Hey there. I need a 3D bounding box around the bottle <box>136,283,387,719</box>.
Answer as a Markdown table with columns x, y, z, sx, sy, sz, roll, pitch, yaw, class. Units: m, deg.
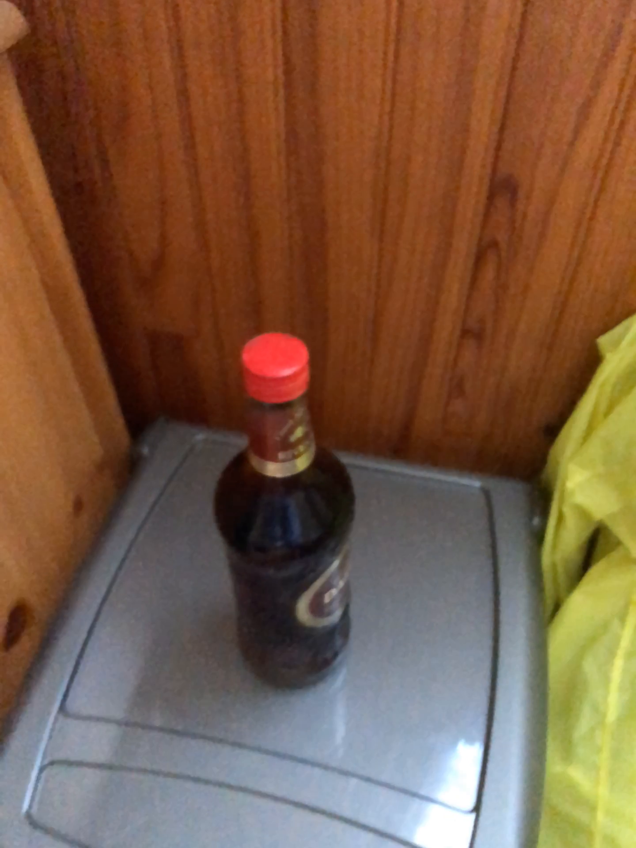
| x | y | z | sx | sy | sz | roll | pitch | yaw | class |
| --- | --- | --- | --- | --- | --- | --- | --- | --- | --- |
| -0.023 | 0.070 | 0.444 | 0.090 | 0.298 | 0.091 | 0 | 47 | 0 | bottle |
